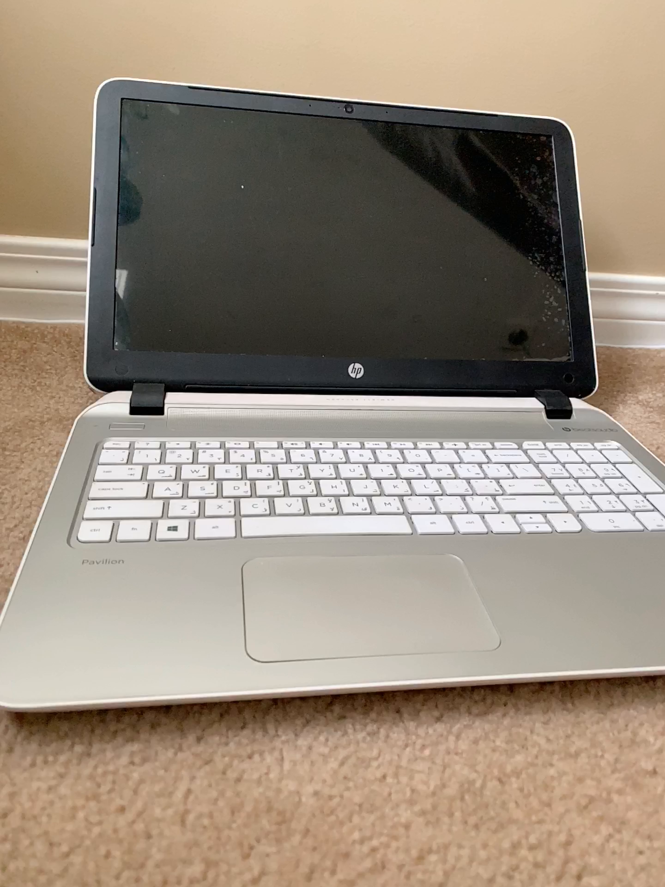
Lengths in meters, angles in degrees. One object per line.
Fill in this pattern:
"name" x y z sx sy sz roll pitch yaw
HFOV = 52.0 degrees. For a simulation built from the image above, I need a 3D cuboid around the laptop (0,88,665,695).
"laptop" 0.035 -0.076 0.383 0.349 0.187 0.351 0 29 -9
